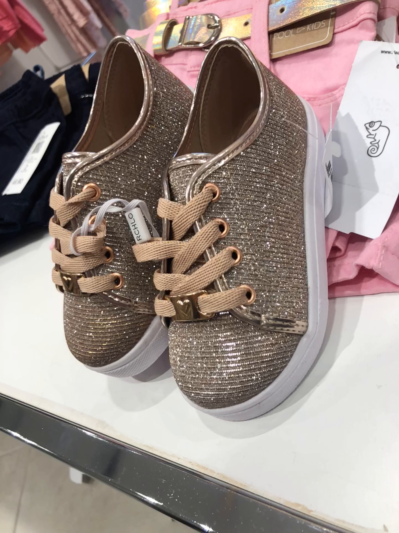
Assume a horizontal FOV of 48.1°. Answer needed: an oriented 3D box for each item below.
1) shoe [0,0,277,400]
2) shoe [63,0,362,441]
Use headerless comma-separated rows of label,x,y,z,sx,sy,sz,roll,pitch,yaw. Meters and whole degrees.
shoe,-0.026,-0.028,0.234,0.070,0.080,0.170,3,75,42
shoe,0.020,-0.021,0.209,0.080,0.079,0.171,-8,58,36
